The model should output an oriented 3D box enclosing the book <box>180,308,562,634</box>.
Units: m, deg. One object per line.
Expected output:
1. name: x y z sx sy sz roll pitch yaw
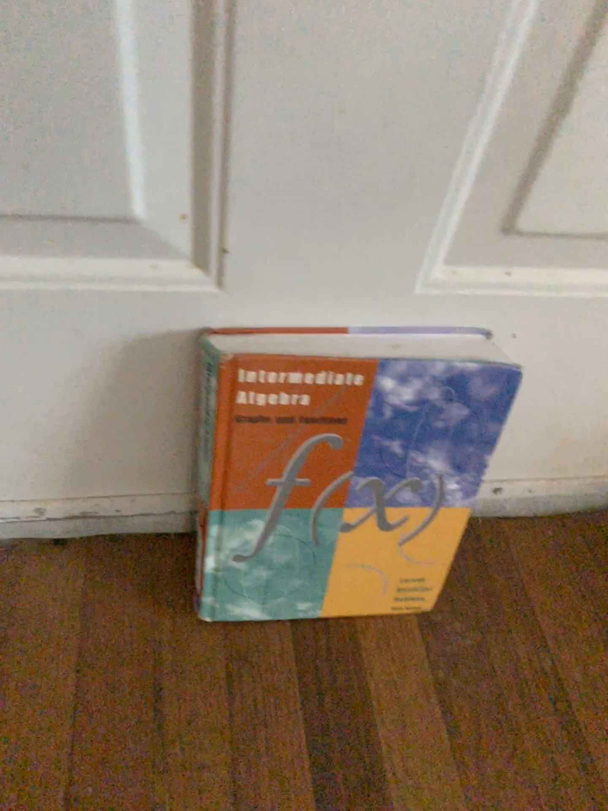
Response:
1. book: 0.030 0.059 0.457 0.230 0.249 0.060 1 33 -8
